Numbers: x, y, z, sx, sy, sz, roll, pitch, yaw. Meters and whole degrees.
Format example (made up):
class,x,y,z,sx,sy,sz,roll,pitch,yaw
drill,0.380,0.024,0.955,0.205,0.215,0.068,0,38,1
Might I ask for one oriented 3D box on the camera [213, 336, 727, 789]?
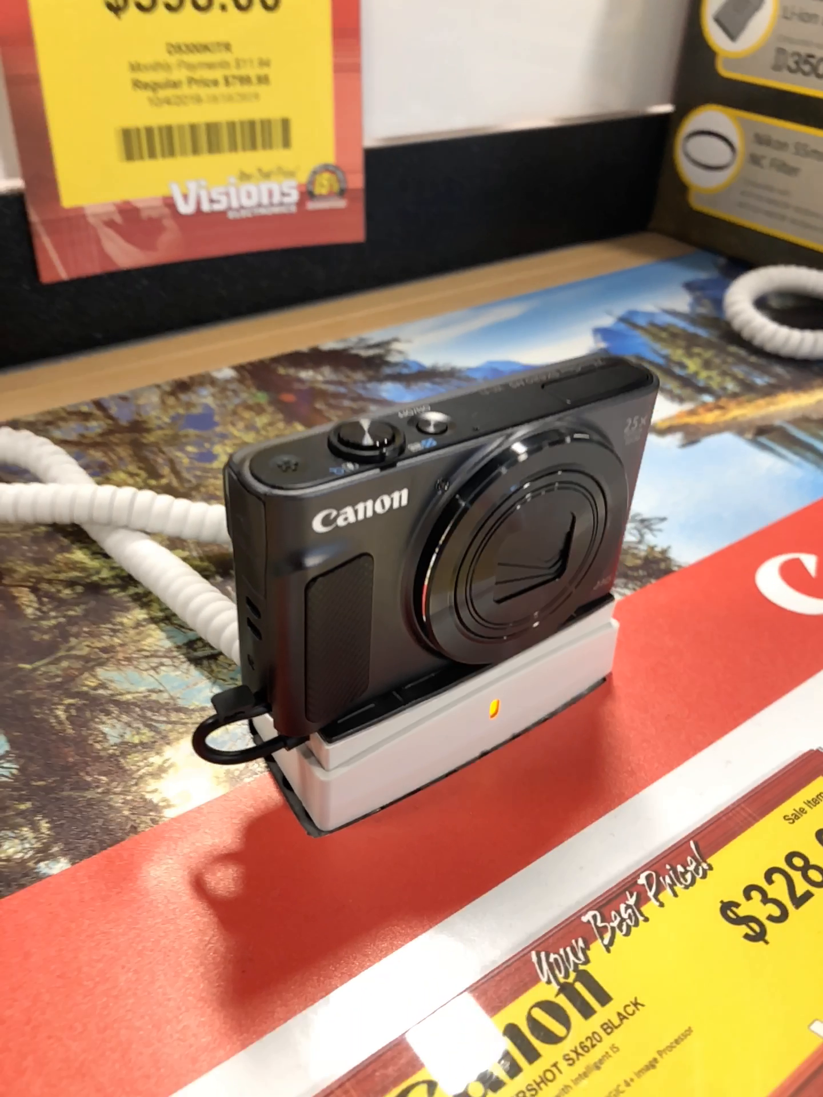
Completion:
class,x,y,z,sx,sy,sz,roll,pitch,yaw
camera,0.014,-0.001,0.192,0.100,0.060,0.030,-20,41,-28
